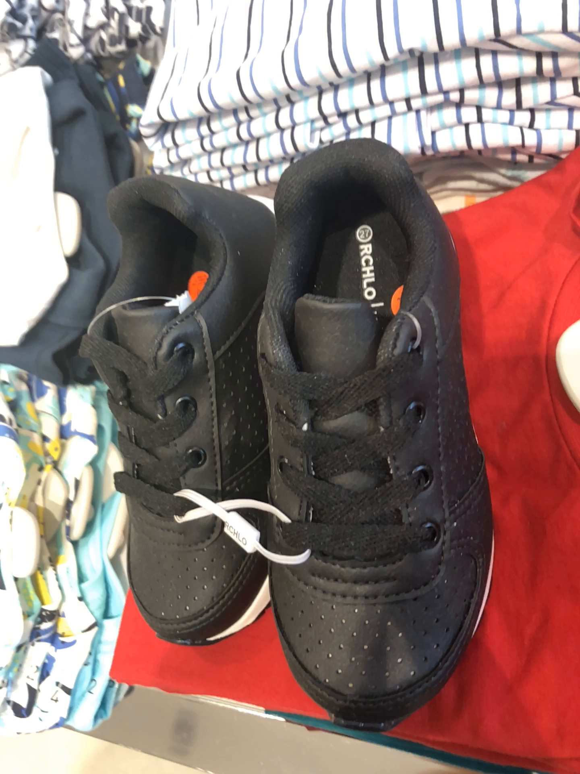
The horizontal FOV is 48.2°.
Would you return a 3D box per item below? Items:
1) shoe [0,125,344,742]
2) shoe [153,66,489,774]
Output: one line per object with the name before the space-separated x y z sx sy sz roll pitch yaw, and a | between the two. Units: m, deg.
shoe | -0.037 0.013 0.240 0.080 0.080 0.180 2 82 22
shoe | 0.020 0.013 0.214 0.080 0.086 0.190 -2 77 18
